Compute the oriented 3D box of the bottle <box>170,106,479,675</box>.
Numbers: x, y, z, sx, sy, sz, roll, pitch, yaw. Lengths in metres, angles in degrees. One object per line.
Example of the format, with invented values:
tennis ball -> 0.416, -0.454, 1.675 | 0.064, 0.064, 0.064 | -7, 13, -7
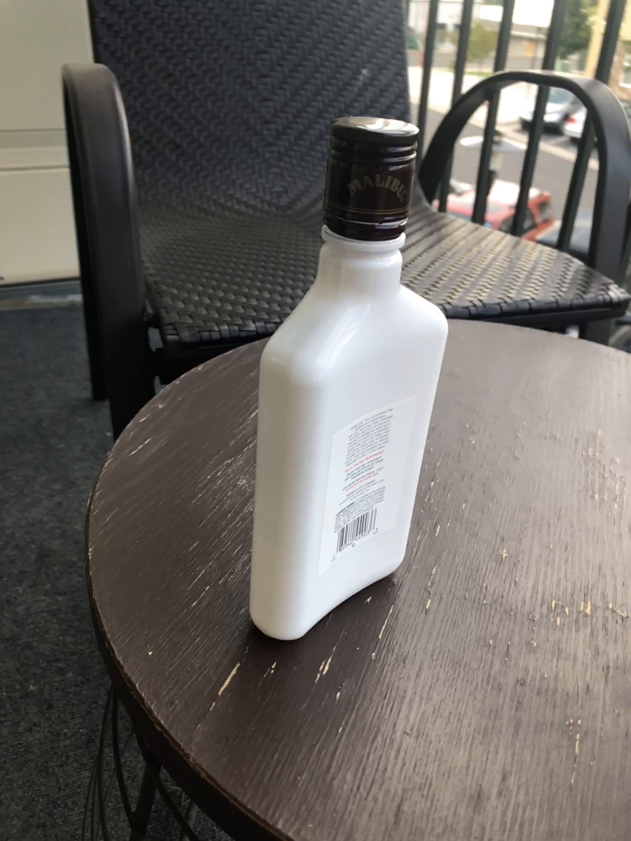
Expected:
bottle -> 0.004, -0.008, 0.286 | 0.100, 0.210, 0.045 | -27, 42, -38
